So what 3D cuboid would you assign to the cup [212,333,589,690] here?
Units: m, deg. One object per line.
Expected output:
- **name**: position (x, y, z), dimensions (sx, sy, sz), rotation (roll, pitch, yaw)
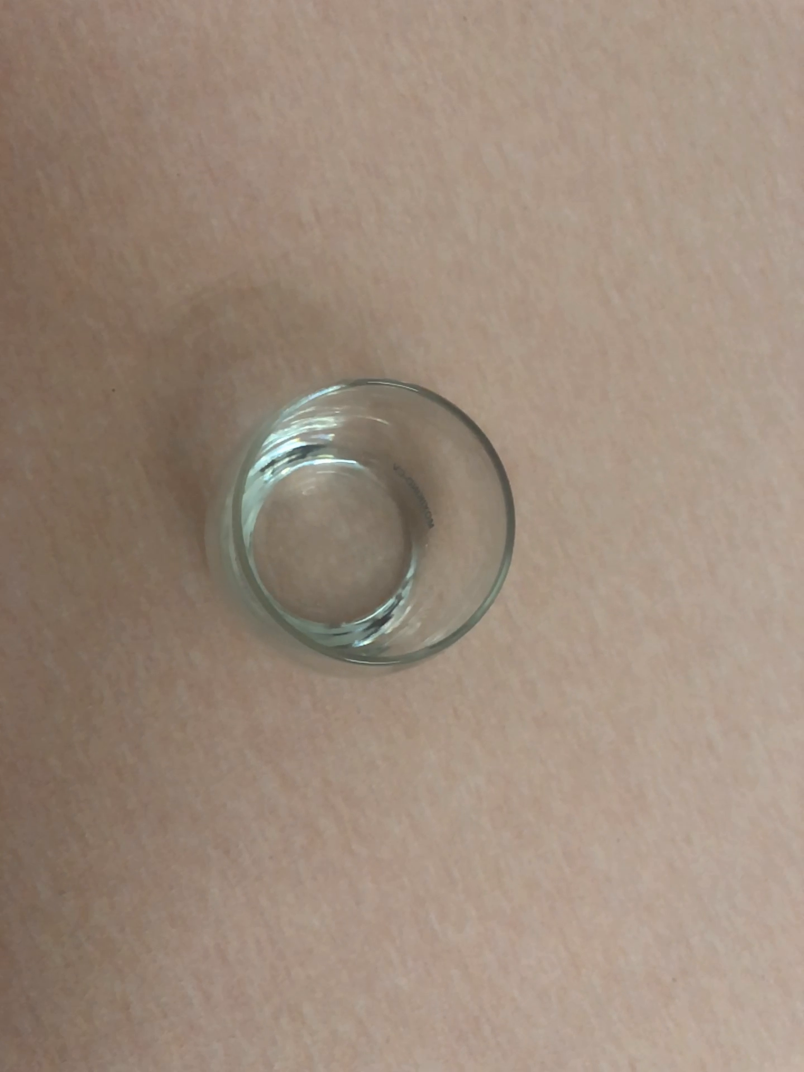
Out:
- **cup**: position (-0.008, -0.005, 0.304), dimensions (0.090, 0.100, 0.090), rotation (2, 84, -15)
